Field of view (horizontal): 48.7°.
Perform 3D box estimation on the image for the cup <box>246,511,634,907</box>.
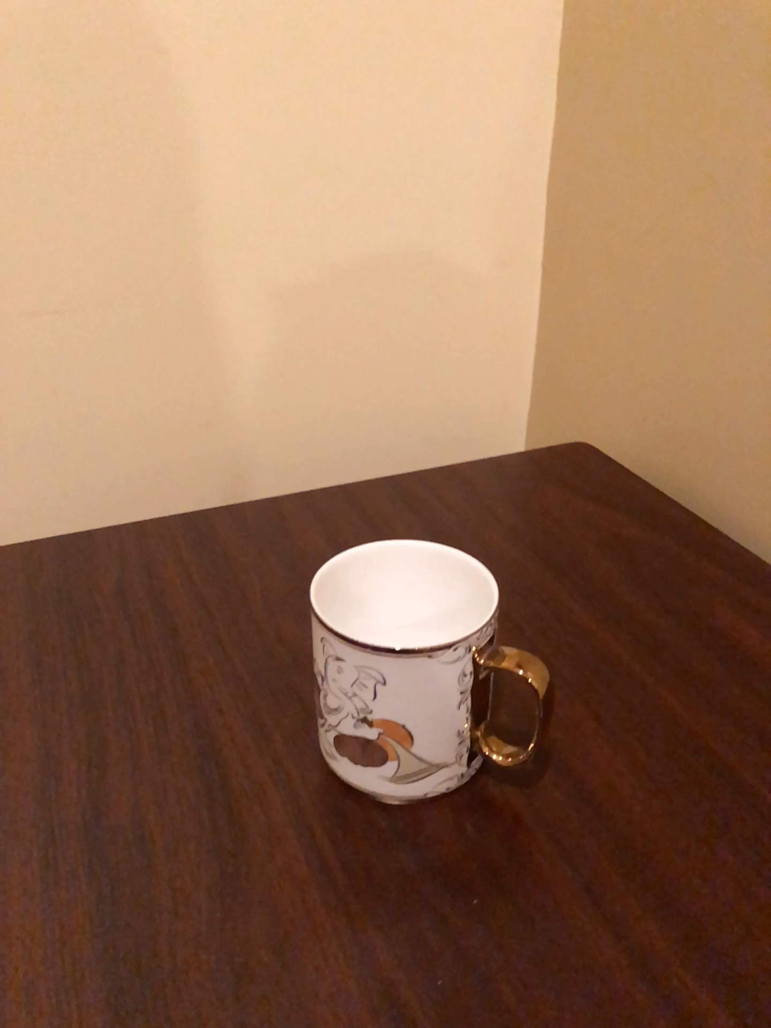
[{"bbox_3d":[0.025,0.081,0.398,0.140,0.100,0.100,17,33,27],"label":"cup"}]
